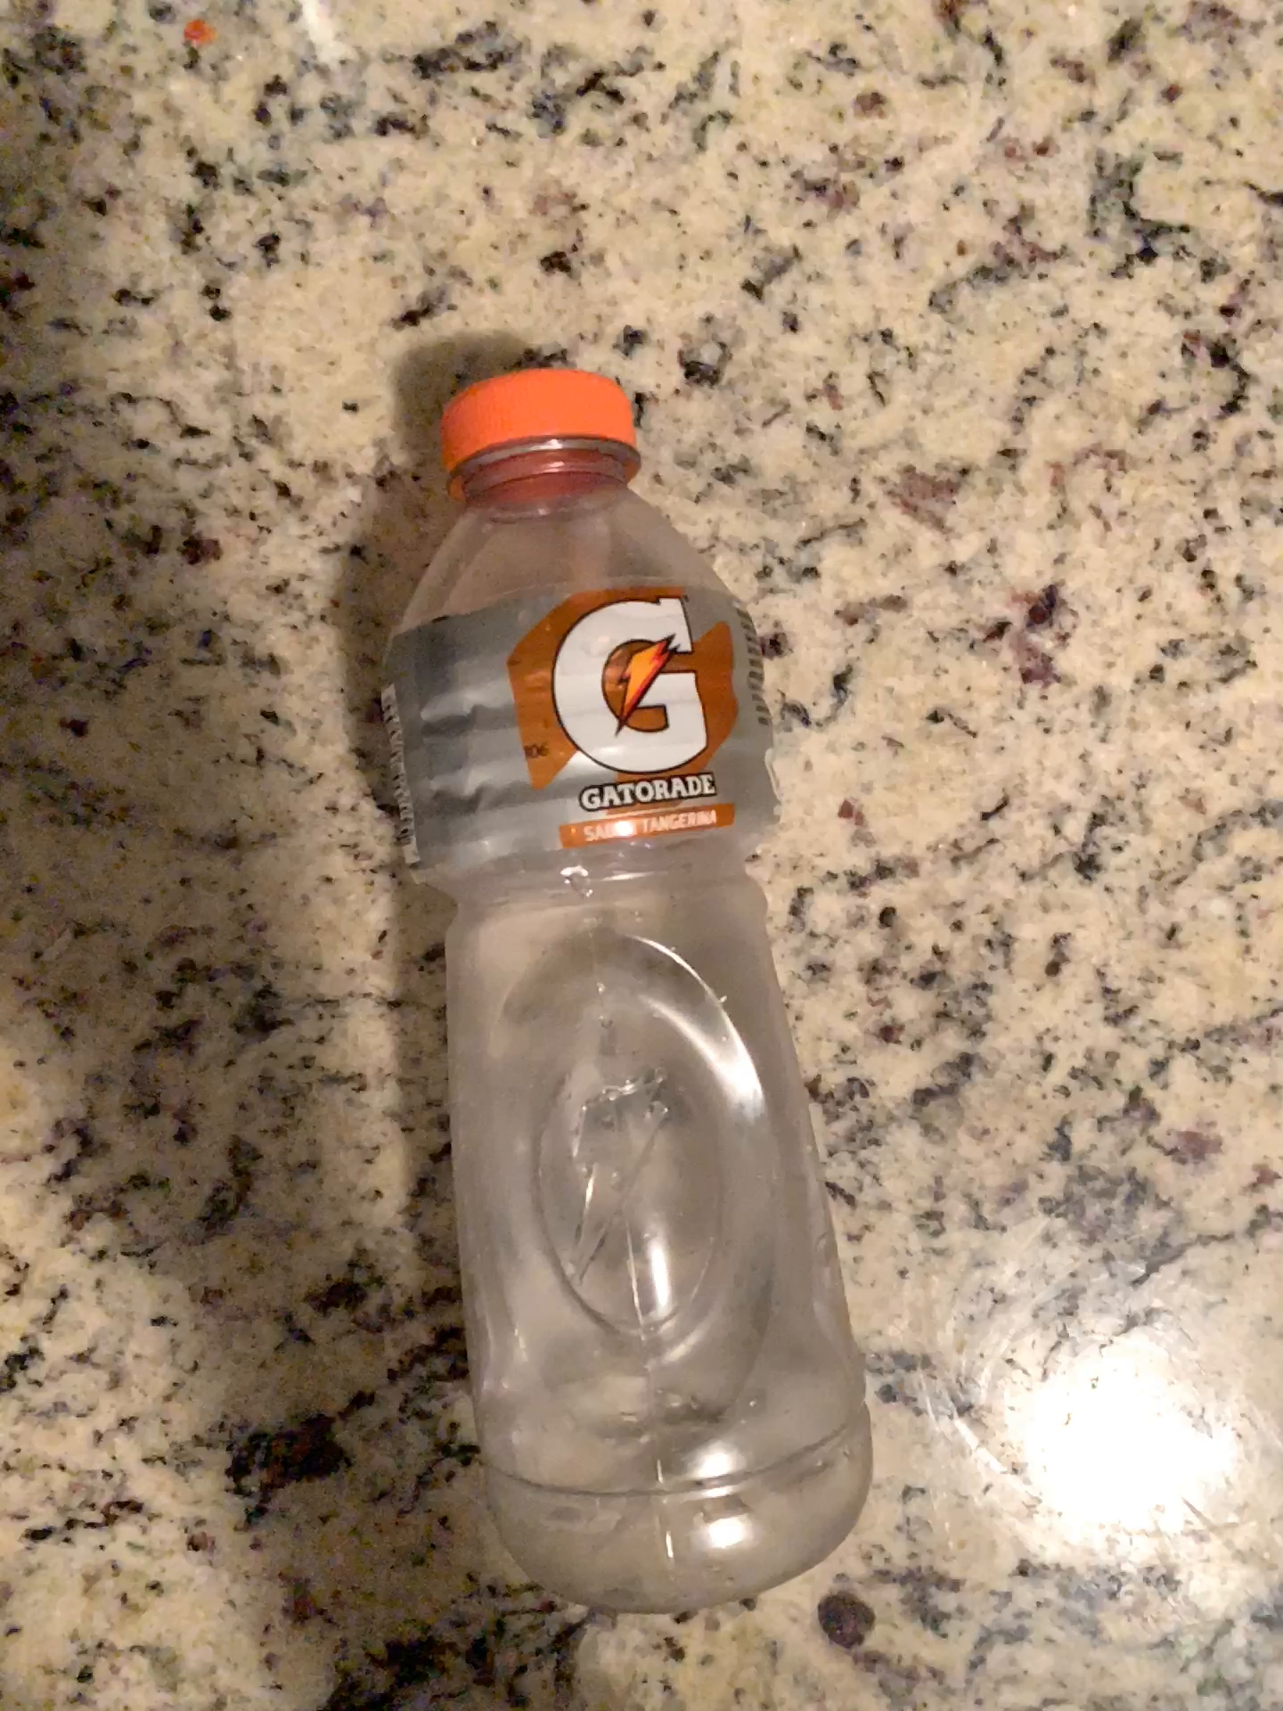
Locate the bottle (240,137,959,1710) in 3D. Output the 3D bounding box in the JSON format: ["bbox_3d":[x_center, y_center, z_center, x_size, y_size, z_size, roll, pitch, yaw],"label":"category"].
[{"bbox_3d":[-0.006,0.013,0.221,0.070,0.070,0.220,-8,89,0],"label":"bottle"}]
